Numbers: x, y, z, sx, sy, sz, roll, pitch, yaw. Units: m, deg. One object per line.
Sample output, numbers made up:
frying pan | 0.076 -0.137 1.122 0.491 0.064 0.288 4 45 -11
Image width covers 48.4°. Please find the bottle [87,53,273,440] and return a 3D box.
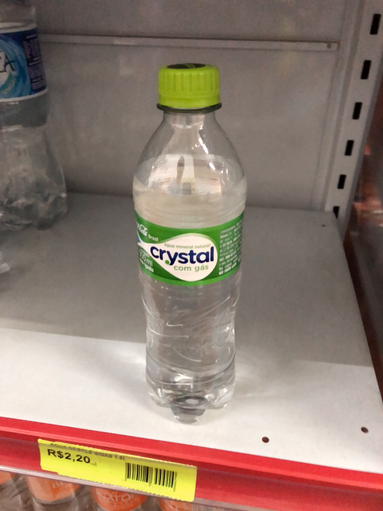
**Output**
bottle | -0.002 0.007 0.249 0.070 0.218 0.060 7 34 11
